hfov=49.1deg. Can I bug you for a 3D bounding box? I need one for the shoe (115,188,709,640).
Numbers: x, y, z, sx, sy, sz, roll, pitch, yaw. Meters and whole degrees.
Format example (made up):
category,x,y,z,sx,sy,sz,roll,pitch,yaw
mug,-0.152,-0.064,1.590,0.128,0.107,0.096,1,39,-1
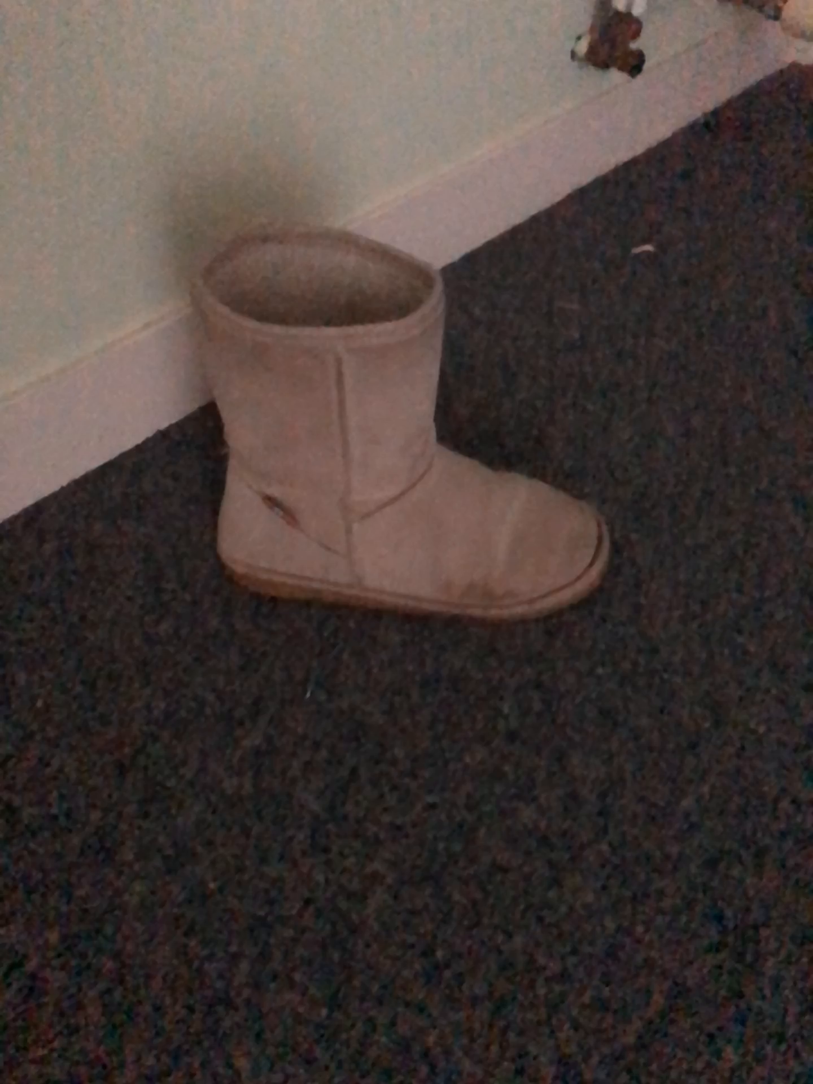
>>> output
category,x,y,z,sx,sy,sz,roll,pitch,yaw
shoe,0.005,-0.066,0.521,0.270,0.209,0.121,6,50,4
